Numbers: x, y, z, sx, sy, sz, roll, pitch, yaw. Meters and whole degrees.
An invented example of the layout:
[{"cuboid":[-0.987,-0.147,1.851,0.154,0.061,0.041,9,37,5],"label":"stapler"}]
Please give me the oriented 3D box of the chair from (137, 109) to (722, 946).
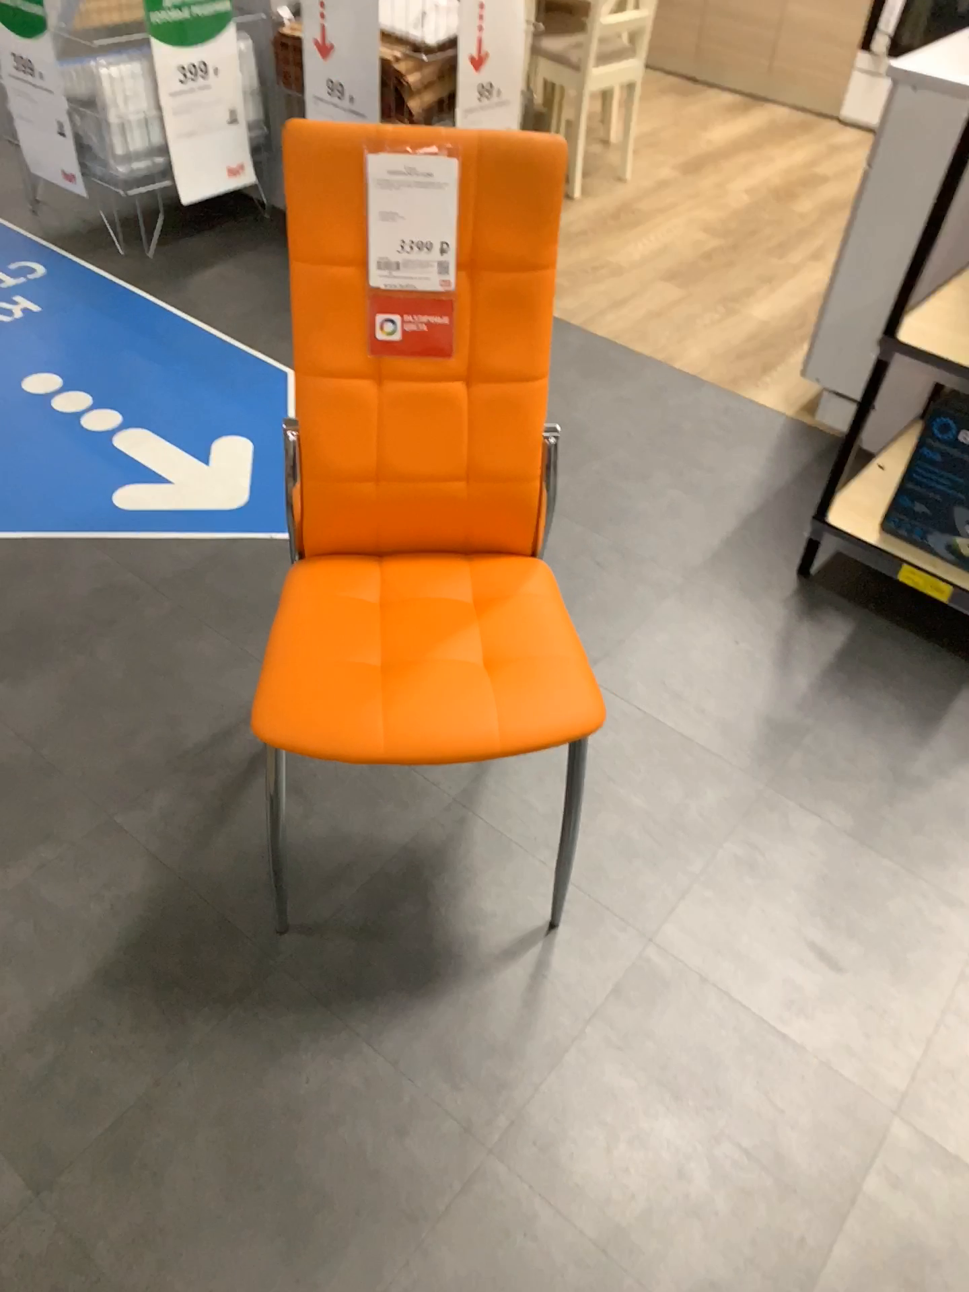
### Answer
[{"cuboid":[-0.088,-0.094,1.376,0.490,1.014,0.543,1,44,-5],"label":"chair"}]
